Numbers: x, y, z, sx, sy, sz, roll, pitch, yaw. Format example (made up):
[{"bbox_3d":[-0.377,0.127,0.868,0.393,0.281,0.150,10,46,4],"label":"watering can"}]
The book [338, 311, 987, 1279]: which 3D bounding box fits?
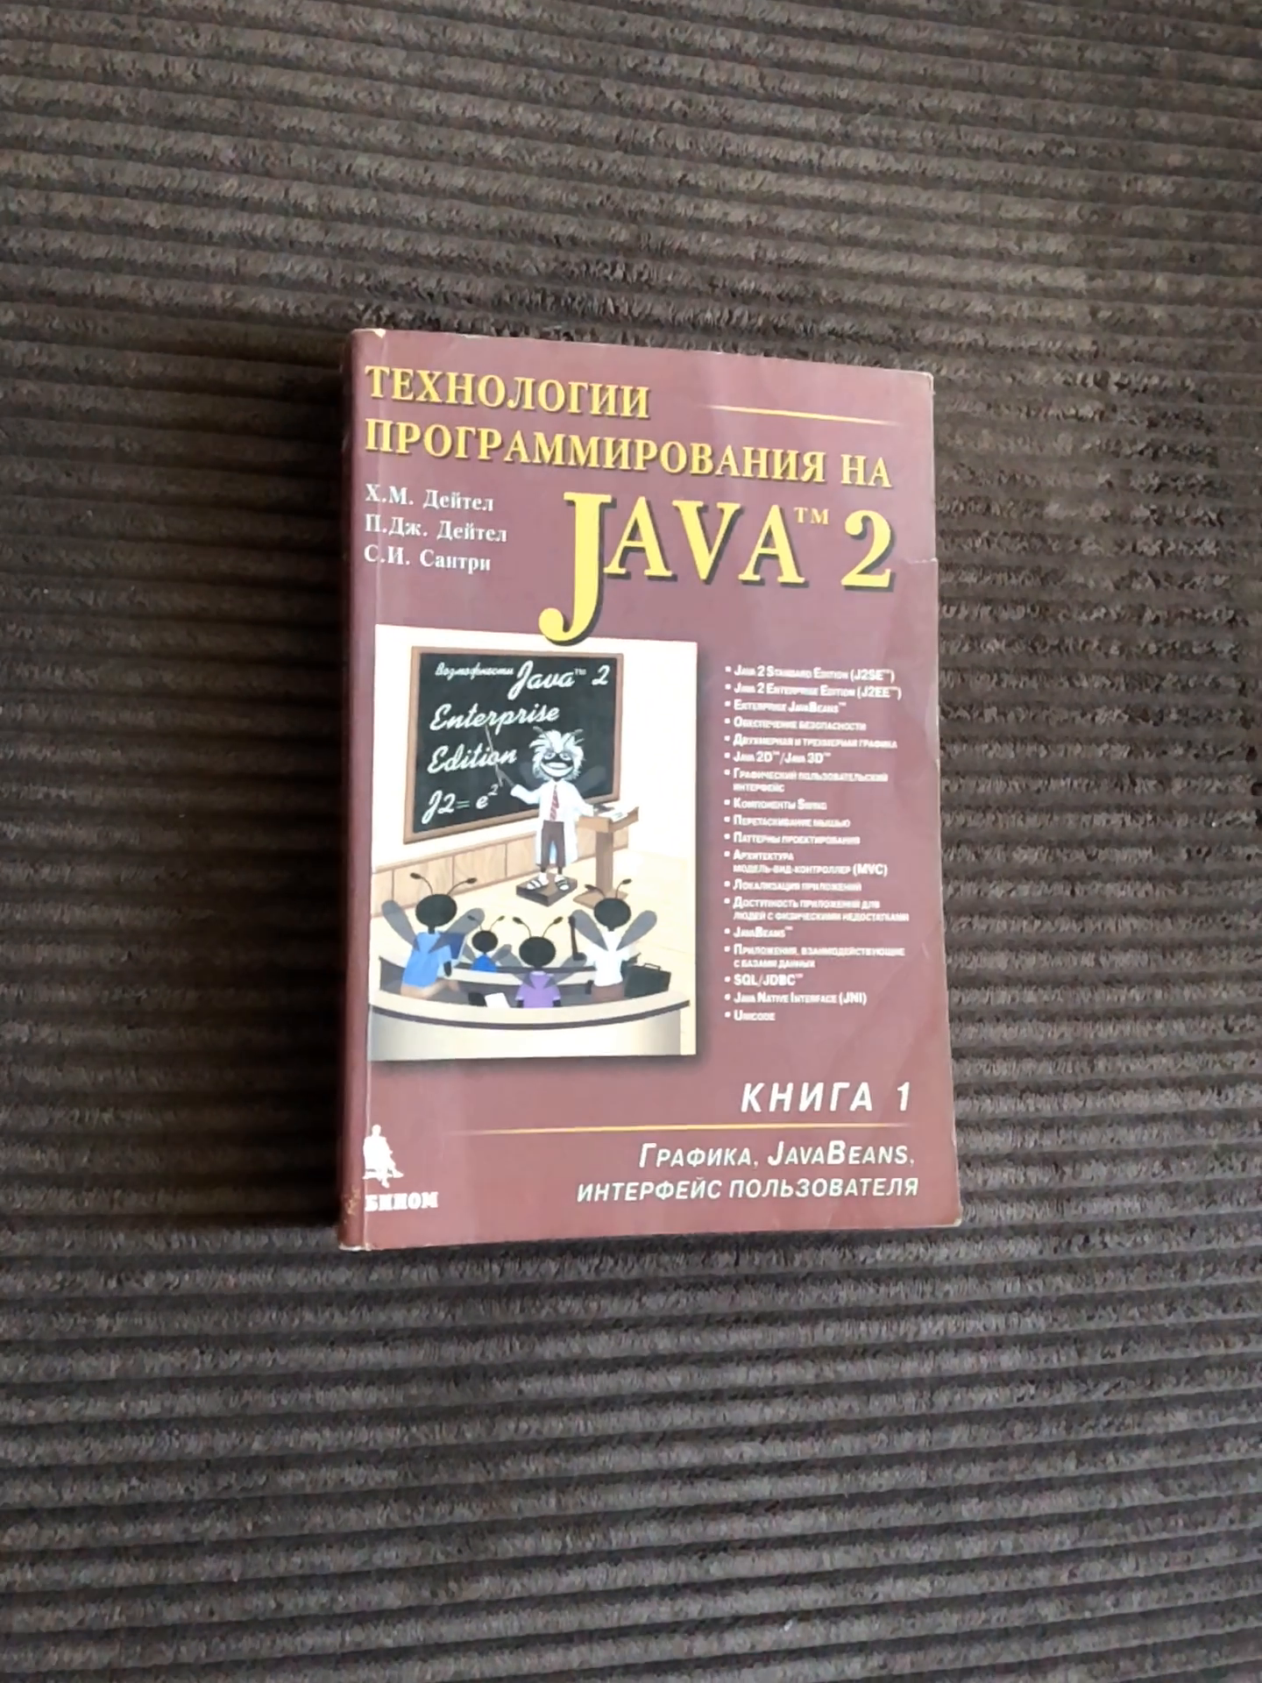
[{"bbox_3d":[0.004,-0.014,0.383,0.165,0.050,0.240,0,84,-12],"label":"book"}]
